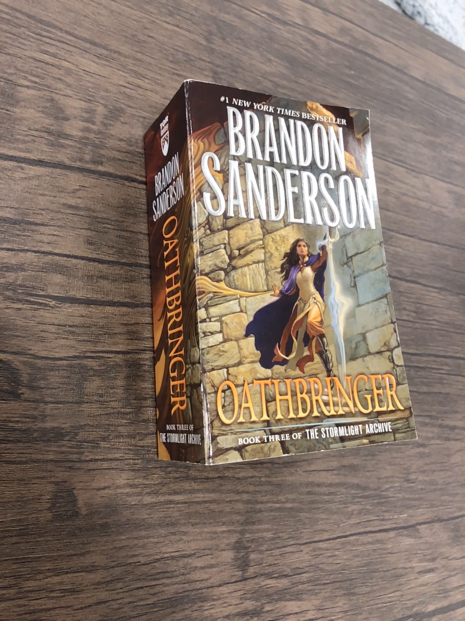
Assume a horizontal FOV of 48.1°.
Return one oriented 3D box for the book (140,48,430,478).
[{"bbox_3d":[0.022,-0.016,0.248,0.111,0.058,0.167,3,78,-31],"label":"book"}]
